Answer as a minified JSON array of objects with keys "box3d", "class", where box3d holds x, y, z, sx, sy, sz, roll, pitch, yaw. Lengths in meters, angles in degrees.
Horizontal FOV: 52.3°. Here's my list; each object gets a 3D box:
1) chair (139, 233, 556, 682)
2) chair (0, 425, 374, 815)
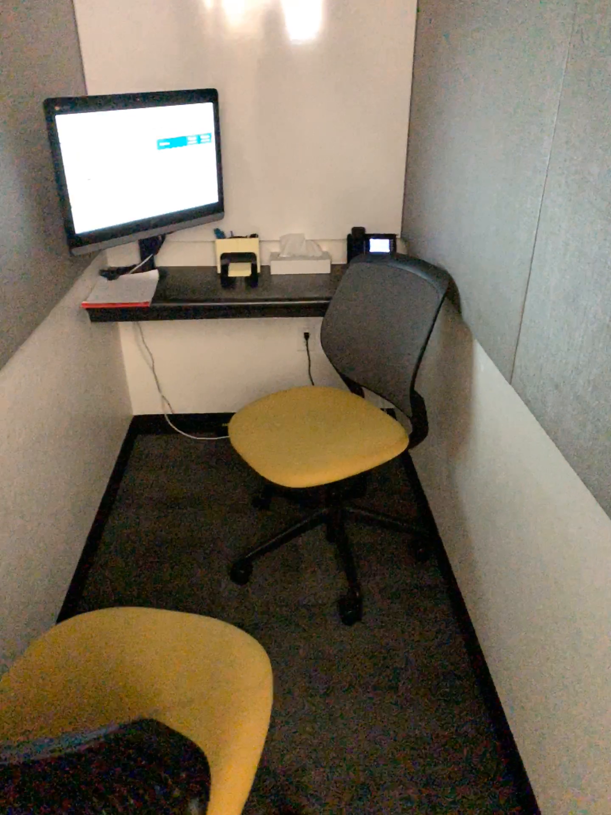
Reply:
[{"box3d":[0.115,0.061,2.226,0.951,1.034,0.924,-22,36,-34],"class":"chair"},{"box3d":[-0.246,0.566,0.854,0.551,0.845,0.573,7,30,12],"class":"chair"}]
